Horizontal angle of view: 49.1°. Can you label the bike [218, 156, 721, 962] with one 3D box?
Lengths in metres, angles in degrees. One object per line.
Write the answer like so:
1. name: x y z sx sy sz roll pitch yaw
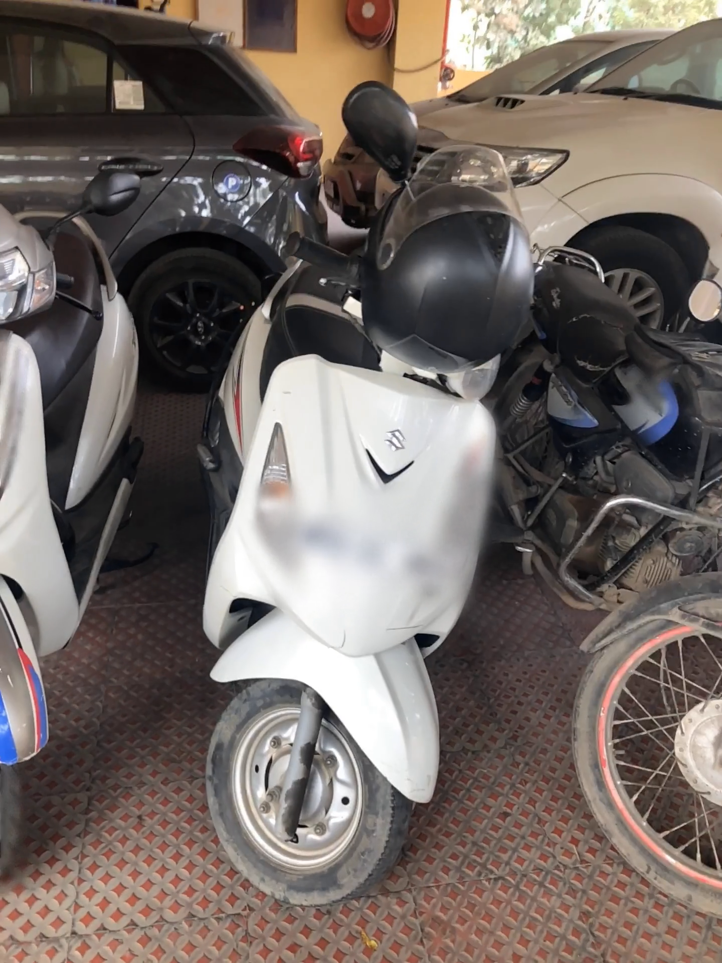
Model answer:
1. bike: 0.180 0.026 1.848 0.832 0.941 1.515 -4 38 -15
